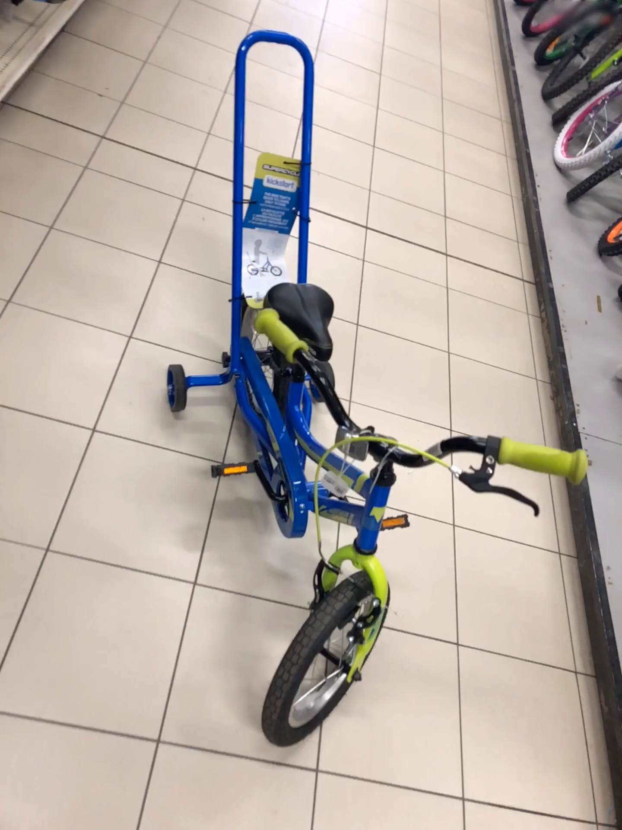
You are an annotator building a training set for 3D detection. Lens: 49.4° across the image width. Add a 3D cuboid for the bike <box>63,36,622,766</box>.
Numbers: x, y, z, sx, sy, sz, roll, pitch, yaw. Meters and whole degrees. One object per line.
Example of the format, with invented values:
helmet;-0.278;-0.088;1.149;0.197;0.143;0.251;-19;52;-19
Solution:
bike;-0.072;-0.022;1.197;0.539;0.763;0.956;6;52;-18
